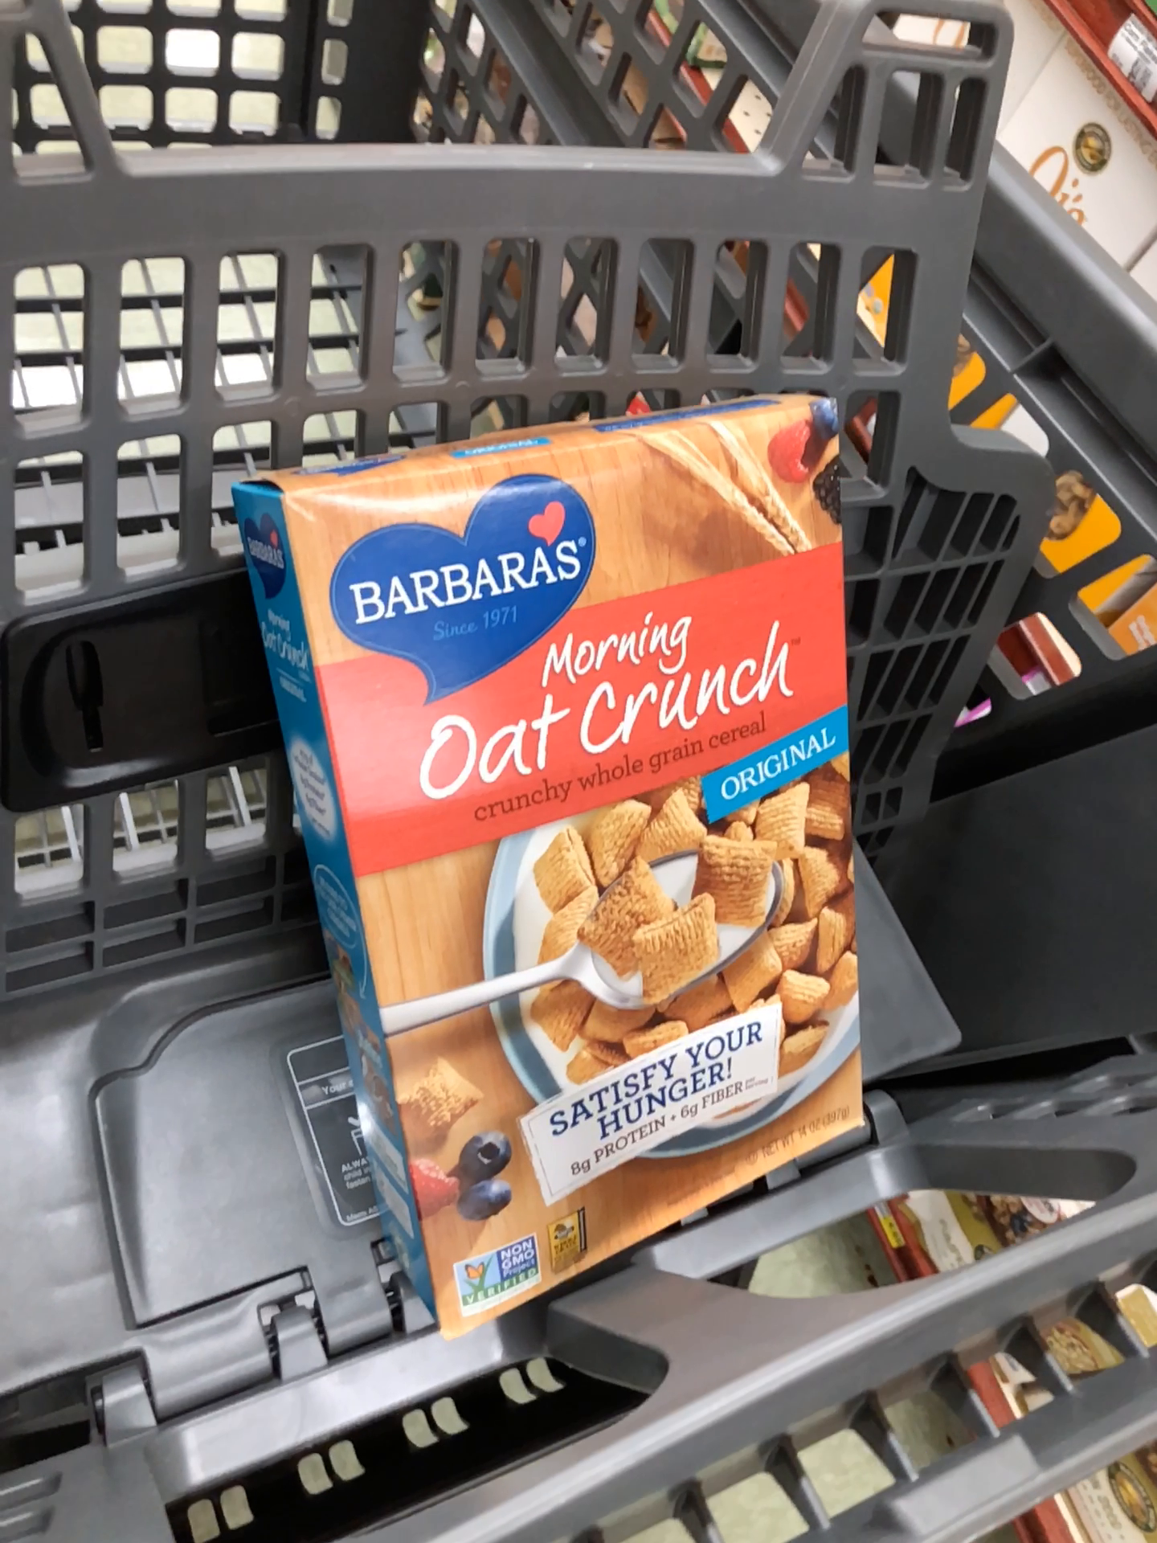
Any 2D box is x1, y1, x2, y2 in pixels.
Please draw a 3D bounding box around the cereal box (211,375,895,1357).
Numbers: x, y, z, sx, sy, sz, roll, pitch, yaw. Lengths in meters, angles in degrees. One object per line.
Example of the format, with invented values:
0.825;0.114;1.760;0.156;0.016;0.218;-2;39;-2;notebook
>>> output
0.009;0.022;0.402;0.180;0.260;0.060;-18;24;-27;cereal box
